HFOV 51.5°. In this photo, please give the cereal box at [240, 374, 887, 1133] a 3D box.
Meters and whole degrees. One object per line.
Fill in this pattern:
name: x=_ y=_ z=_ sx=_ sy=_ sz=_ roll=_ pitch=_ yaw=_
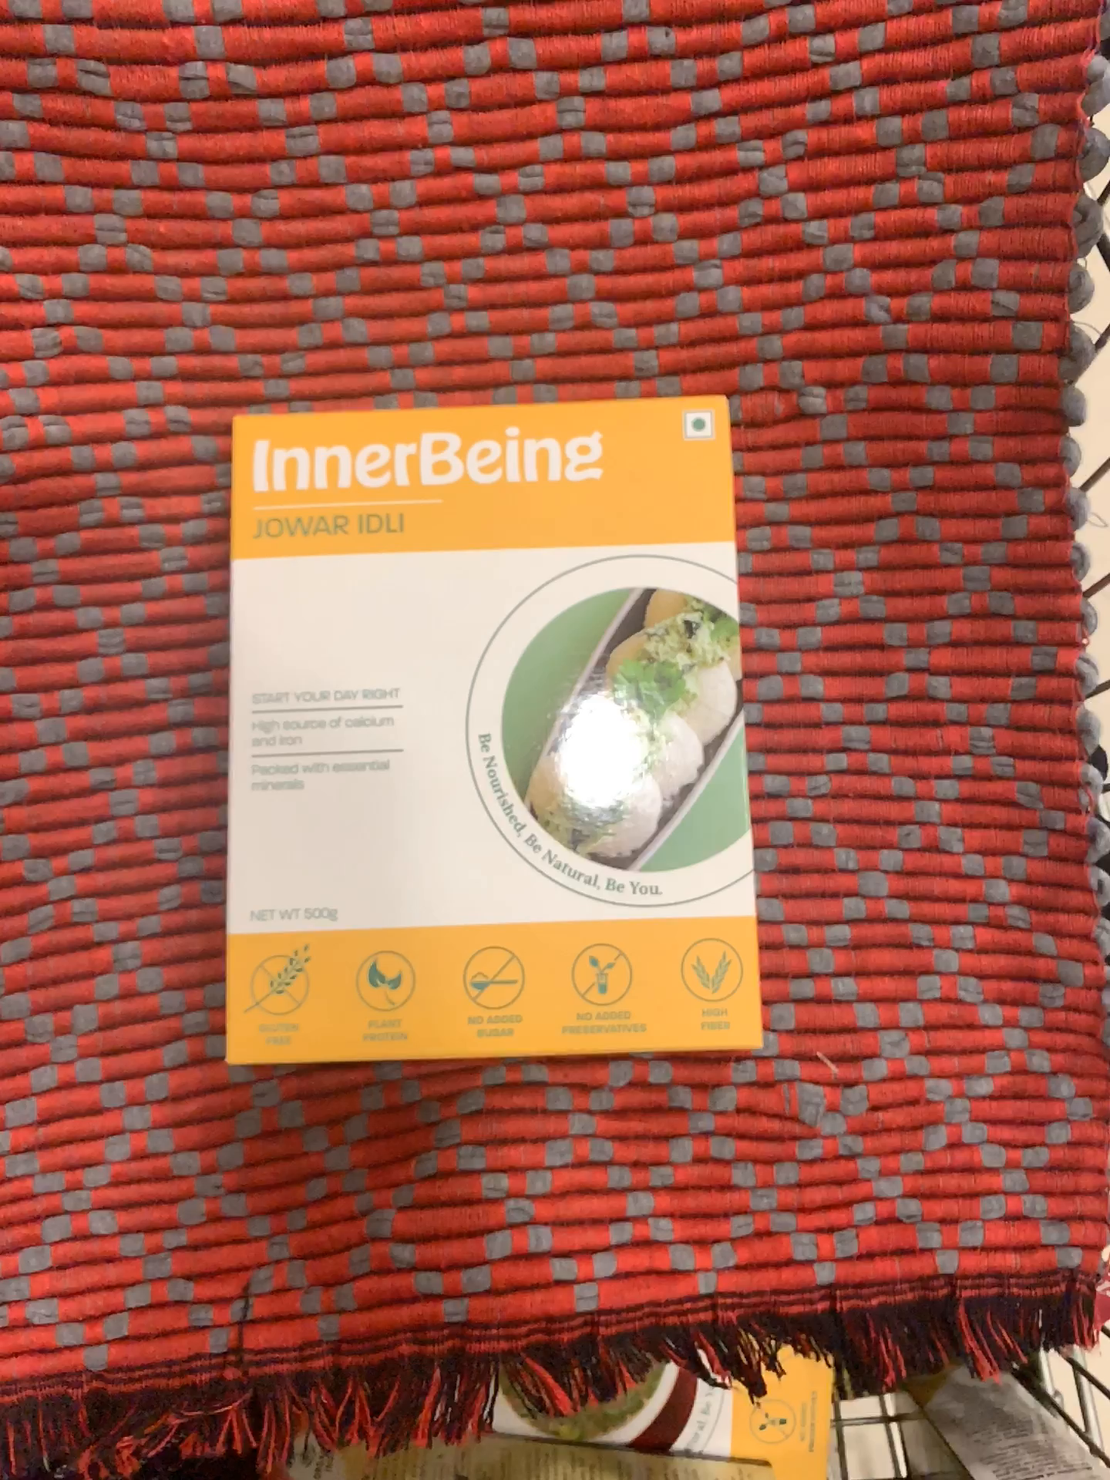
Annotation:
cereal box: x=-0.001 y=0.004 z=0.324 sx=0.150 sy=0.070 sz=0.190 roll=-2 pitch=76 yaw=0
